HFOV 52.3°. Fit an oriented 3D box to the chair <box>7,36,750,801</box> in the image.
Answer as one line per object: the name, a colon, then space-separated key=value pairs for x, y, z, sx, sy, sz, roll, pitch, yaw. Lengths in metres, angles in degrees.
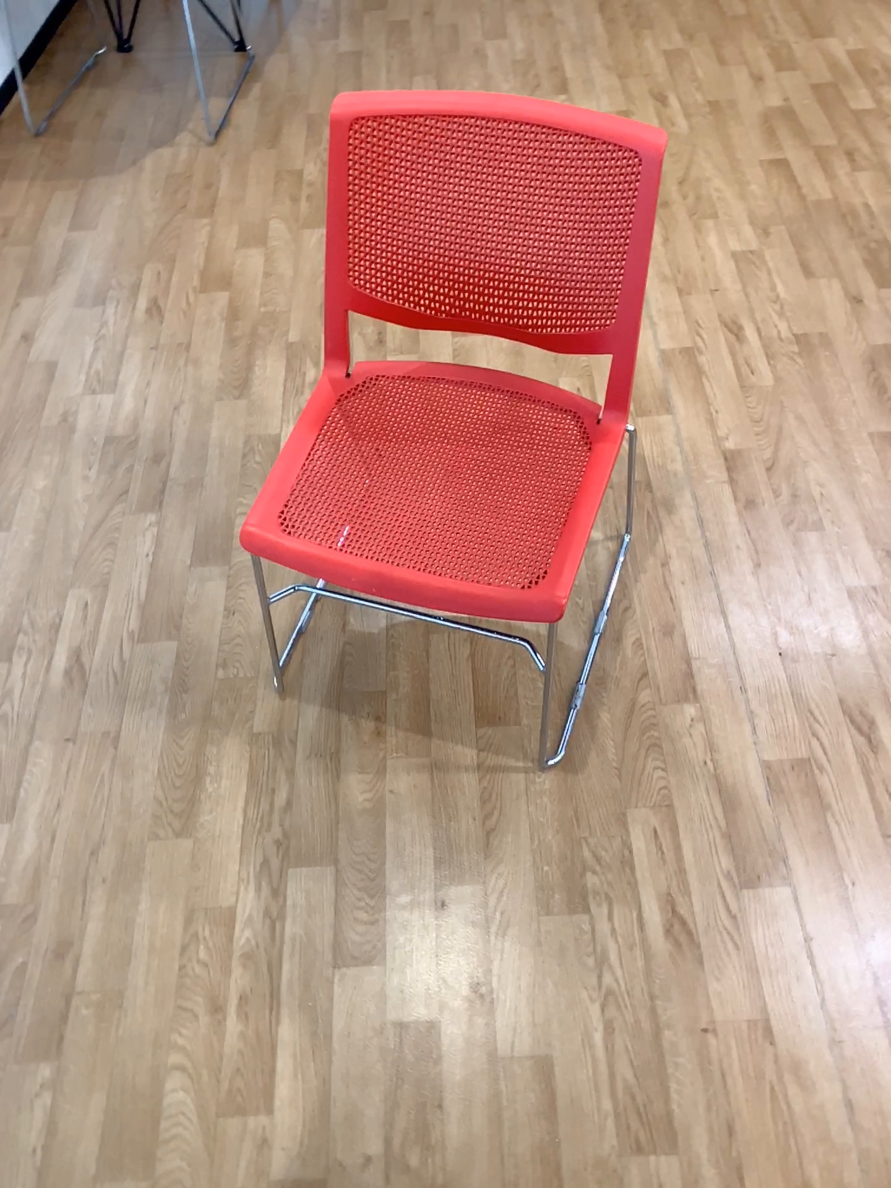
chair: x=-0.011 y=-0.206 z=1.215 sx=0.600 sy=0.705 sz=0.593 roll=12 pitch=57 yaw=12
